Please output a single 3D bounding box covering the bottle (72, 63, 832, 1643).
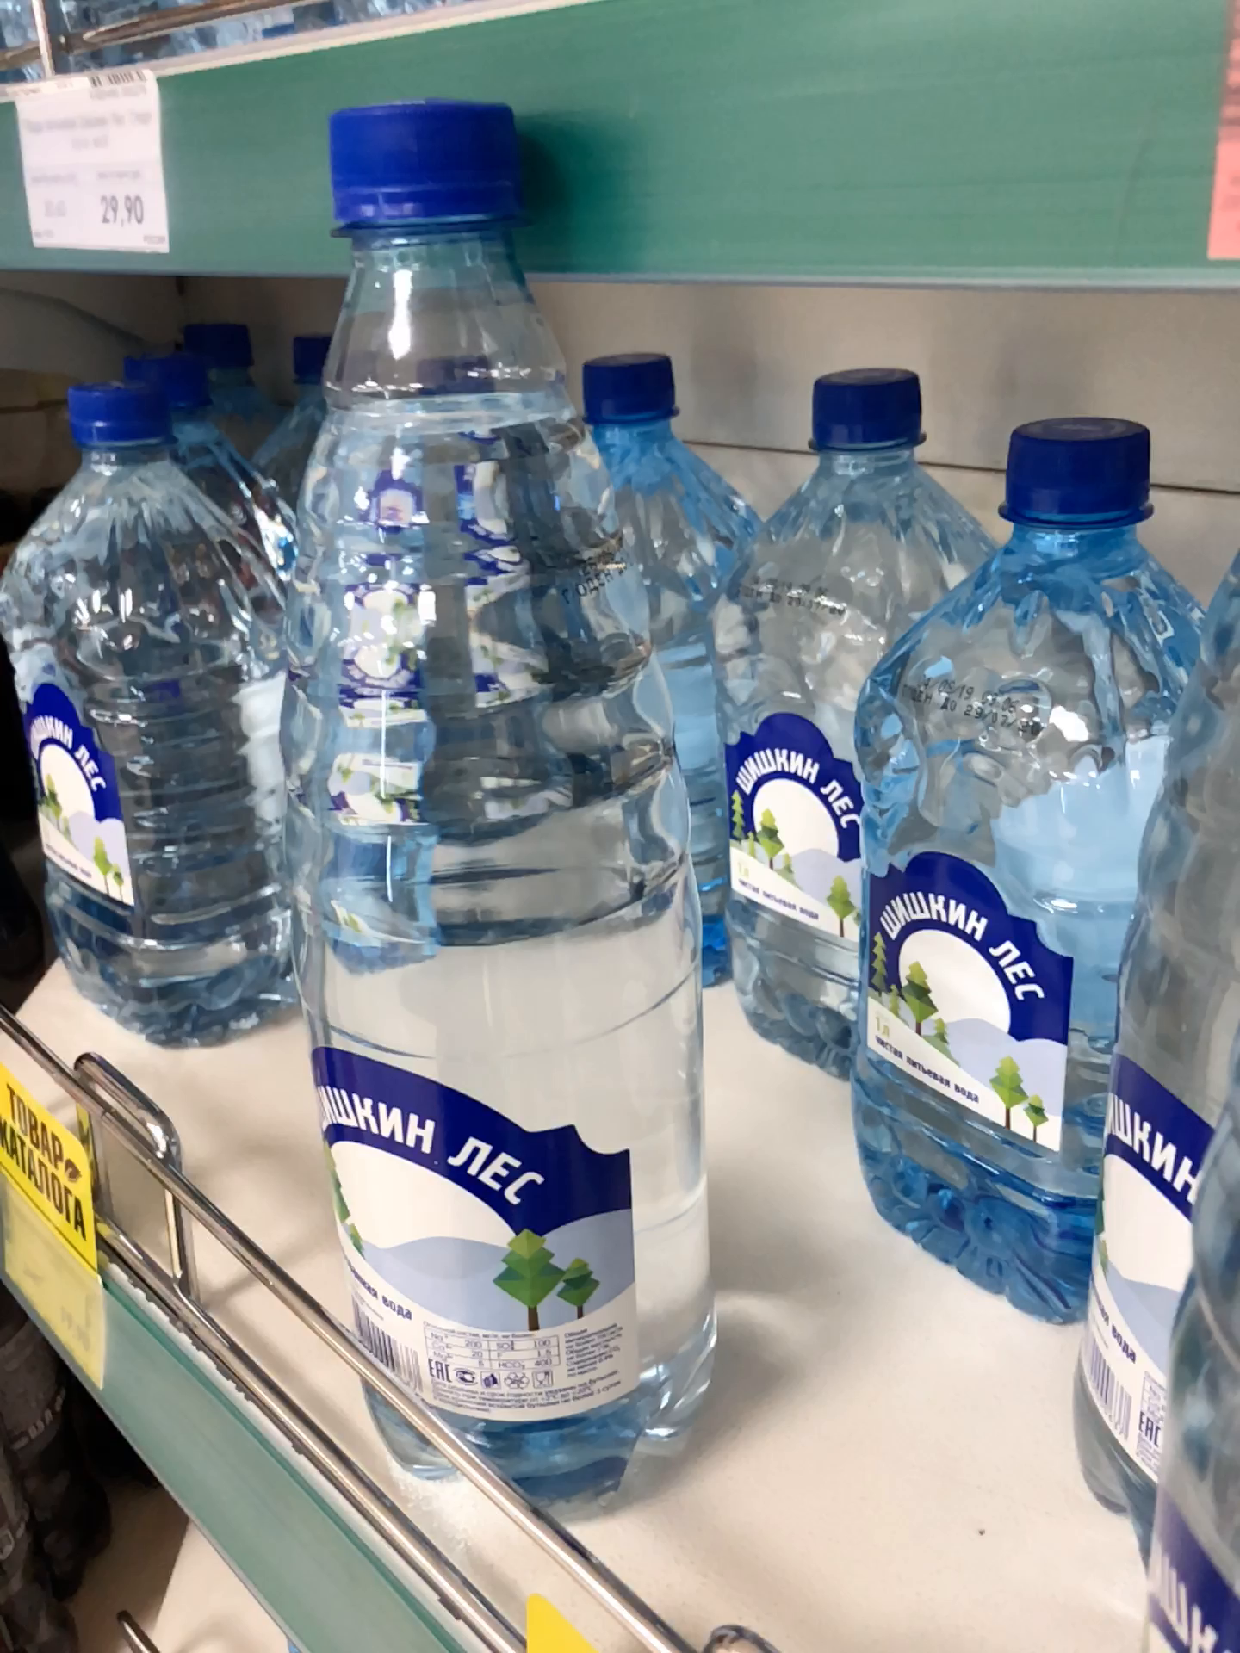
[{"bbox_3d":[-0.018,0.011,0.271,0.090,0.272,0.080,15,29,37],"label":"bottle"}]
